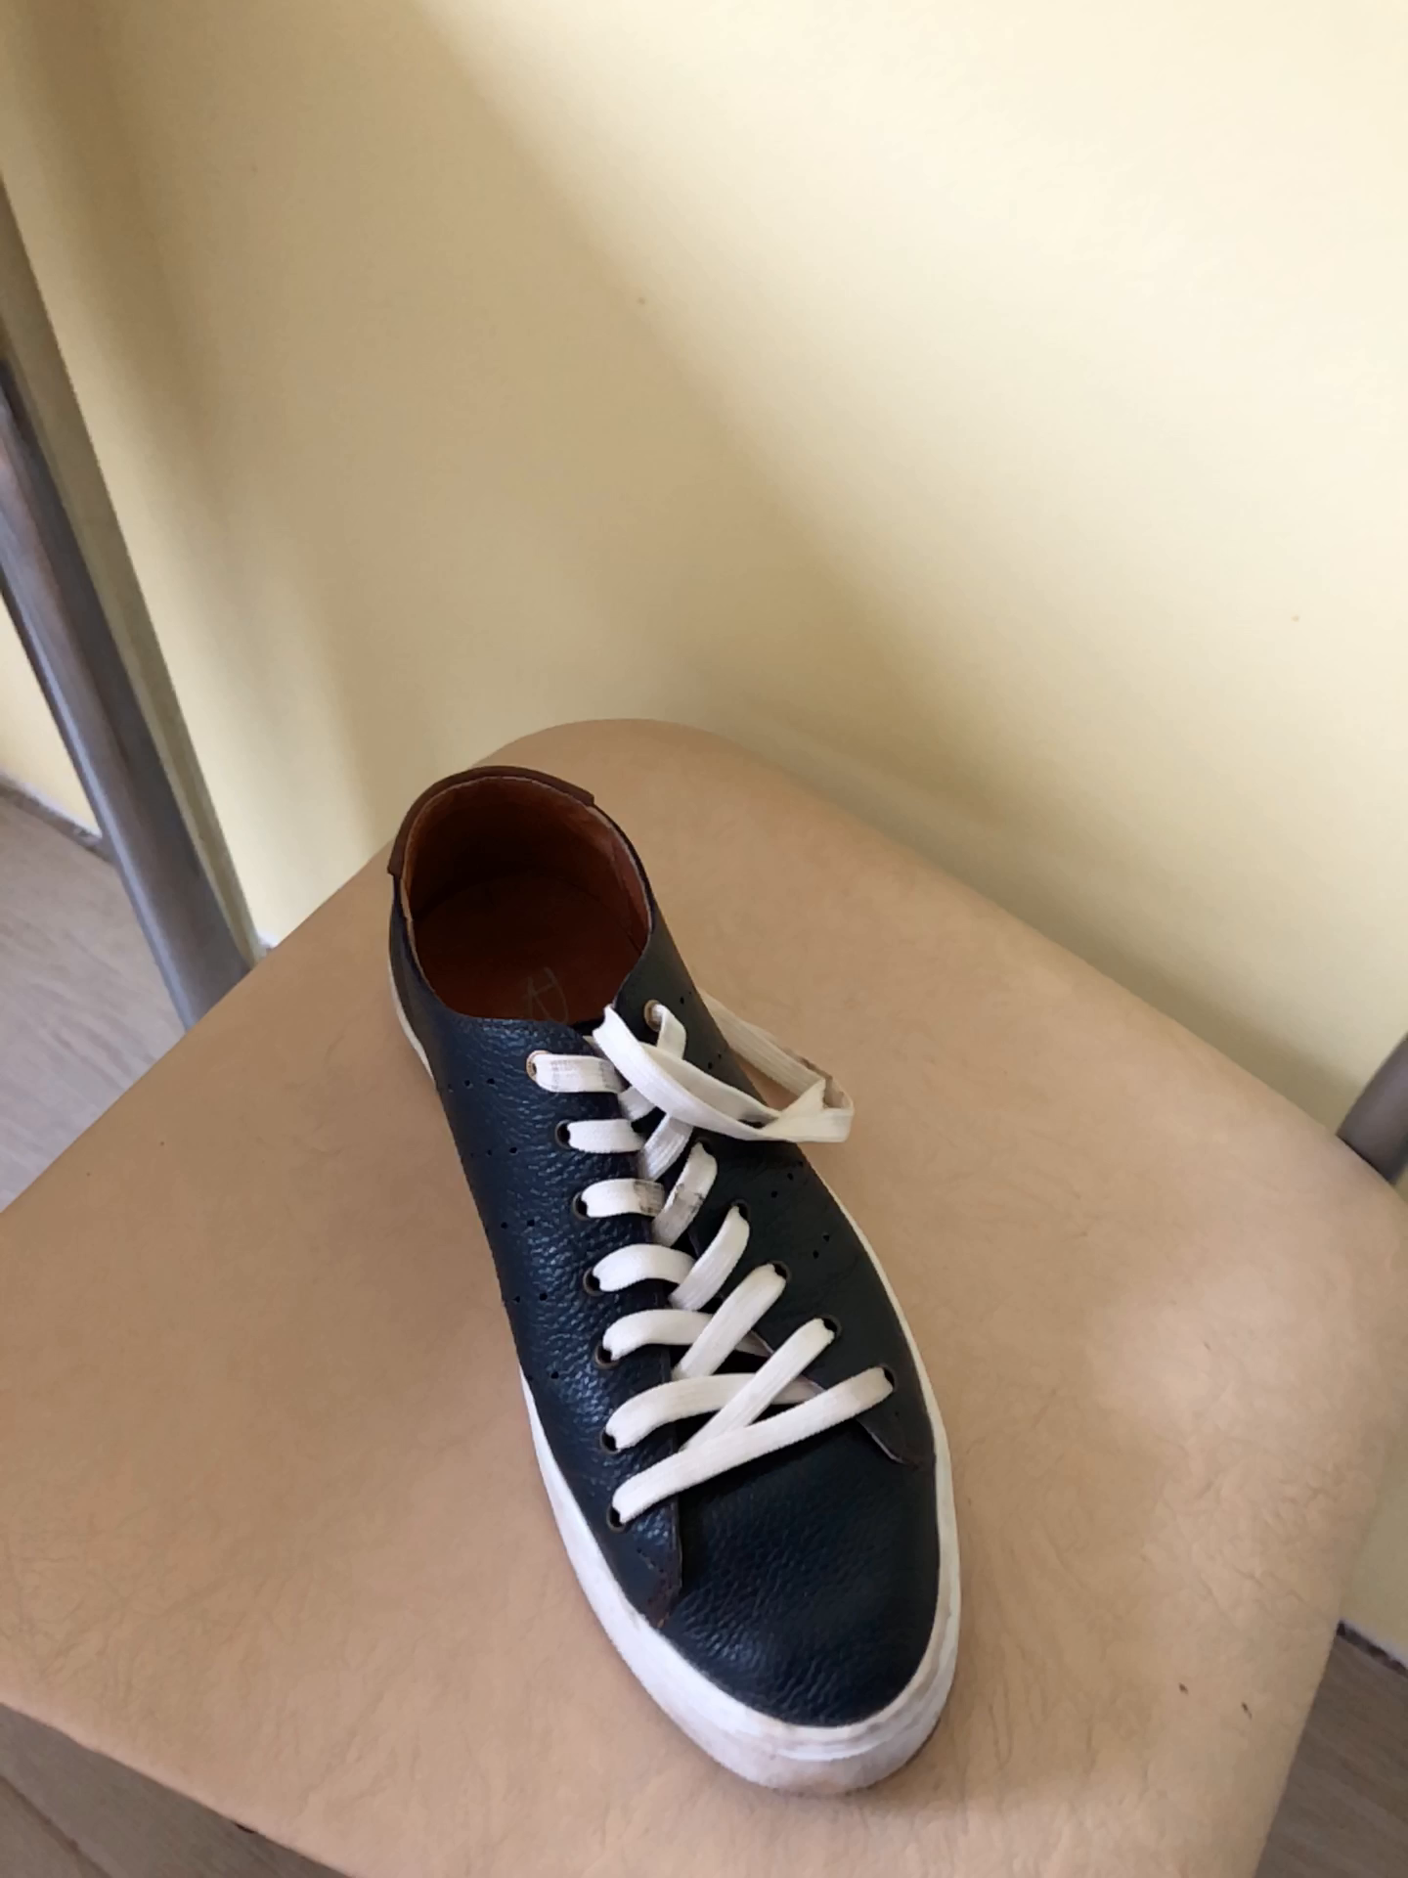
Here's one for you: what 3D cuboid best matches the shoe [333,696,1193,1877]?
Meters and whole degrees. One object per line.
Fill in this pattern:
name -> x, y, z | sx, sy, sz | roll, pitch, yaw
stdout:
shoe -> -0.007, 0.072, 0.415 | 0.110, 0.089, 0.291 | -16, 52, -14
